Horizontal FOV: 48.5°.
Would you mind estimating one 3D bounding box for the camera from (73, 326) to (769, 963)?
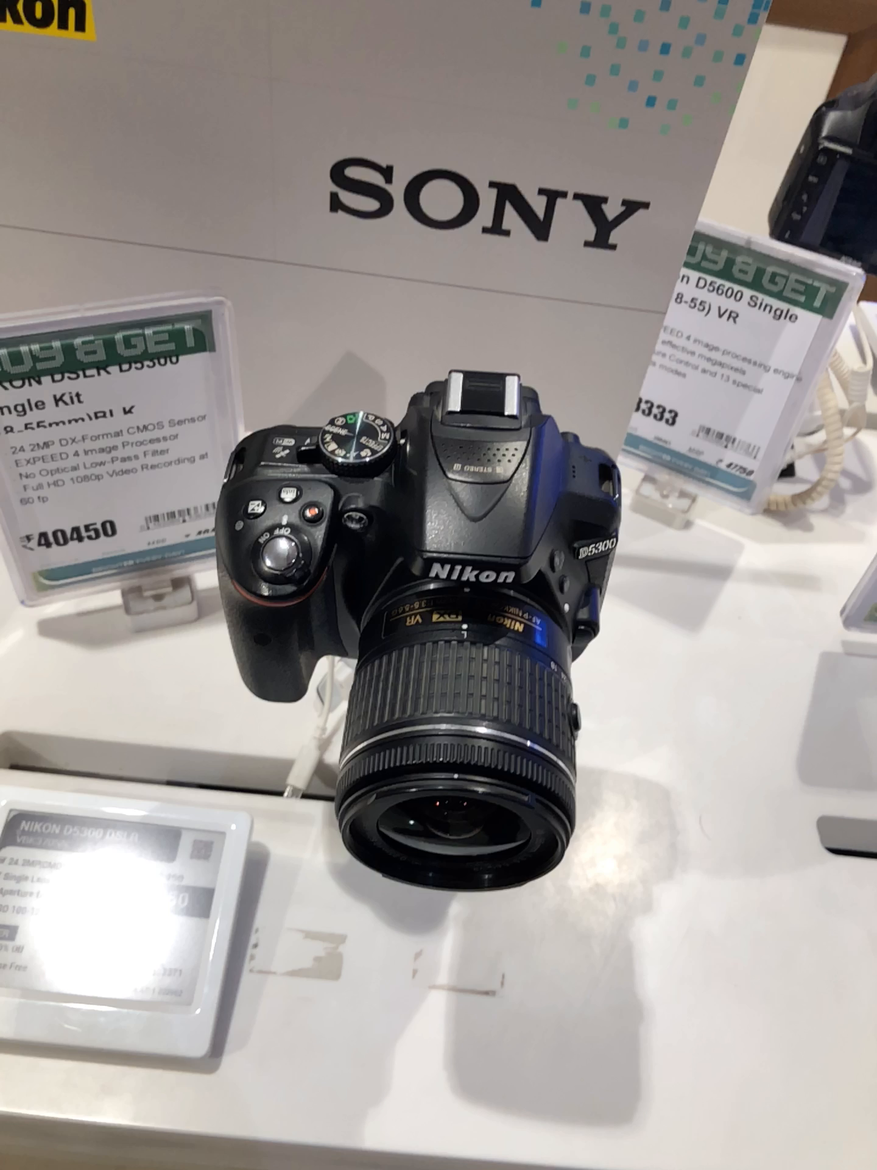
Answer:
[{"bbox_3d":[-0.006,0.015,0.279,0.140,0.099,0.141,5,47,-4],"label":"camera"}]
